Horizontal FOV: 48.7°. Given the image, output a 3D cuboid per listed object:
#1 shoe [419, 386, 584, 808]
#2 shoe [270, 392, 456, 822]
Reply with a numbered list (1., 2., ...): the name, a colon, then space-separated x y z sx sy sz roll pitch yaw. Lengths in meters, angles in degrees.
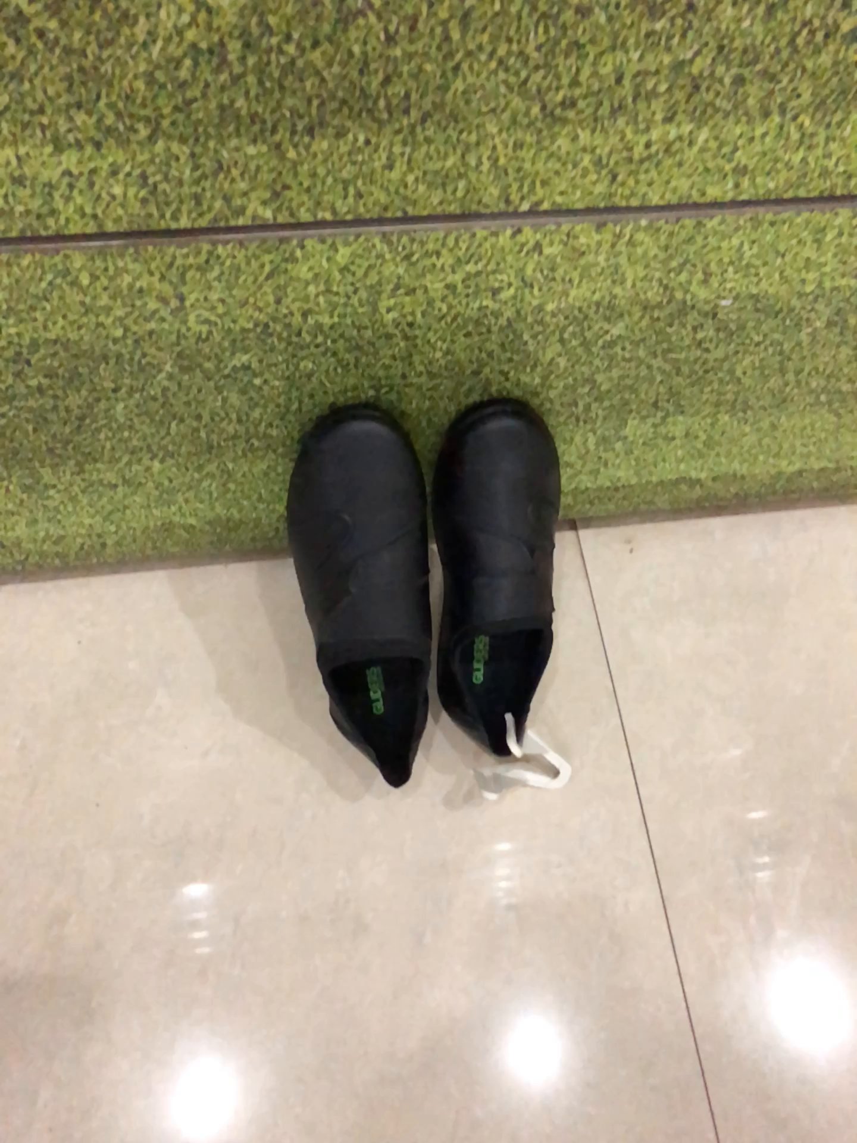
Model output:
1. shoe: 0.042 0.013 0.570 0.080 0.081 0.236 -4 107 -6
2. shoe: -0.037 0.019 0.562 0.090 0.081 0.236 -4 107 -6
